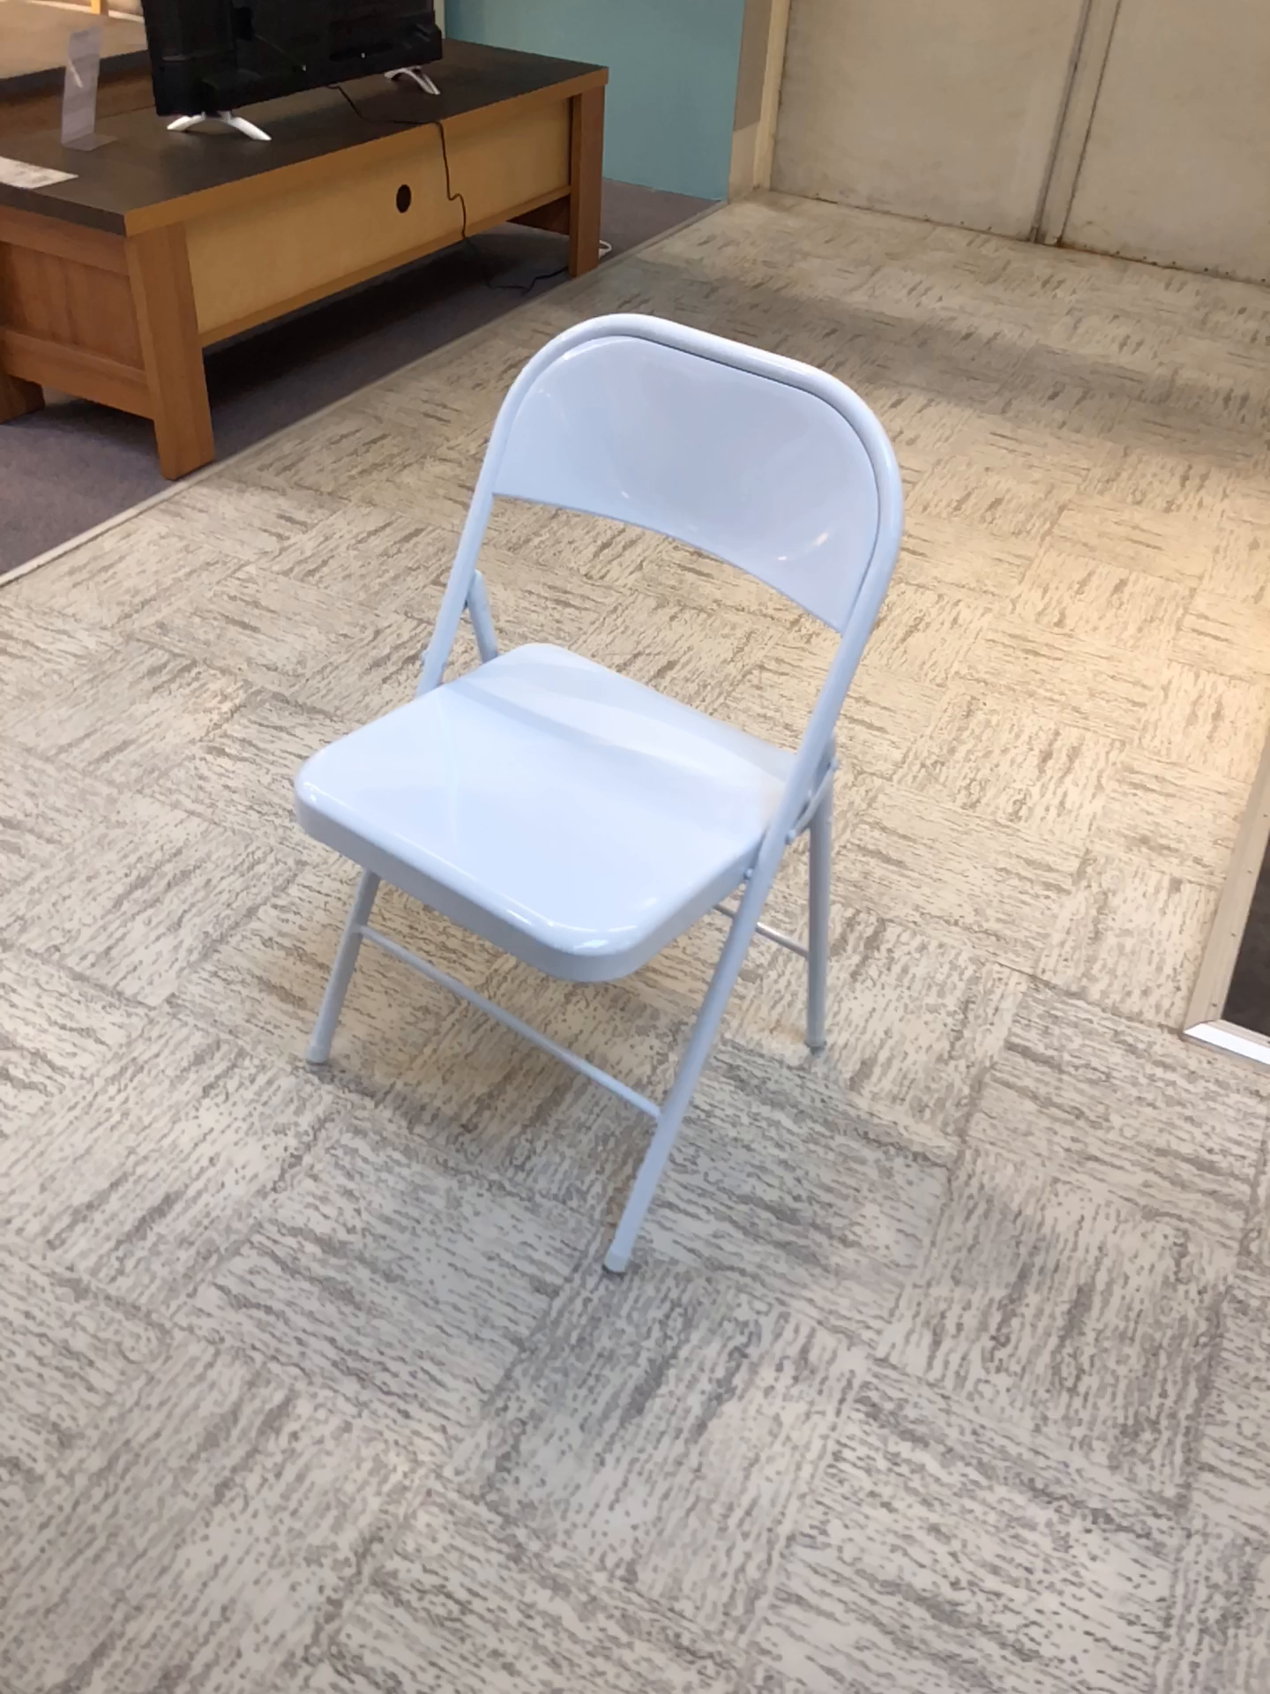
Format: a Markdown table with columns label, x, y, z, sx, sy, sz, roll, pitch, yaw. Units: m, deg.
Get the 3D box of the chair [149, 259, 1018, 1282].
| label | x | y | z | sx | sy | sz | roll | pitch | yaw |
| --- | --- | --- | --- | --- | --- | --- | --- | --- | --- |
| chair | -0.048 | -0.090 | 1.332 | 0.510 | 0.705 | 0.483 | 27 | 44 | 26 |
